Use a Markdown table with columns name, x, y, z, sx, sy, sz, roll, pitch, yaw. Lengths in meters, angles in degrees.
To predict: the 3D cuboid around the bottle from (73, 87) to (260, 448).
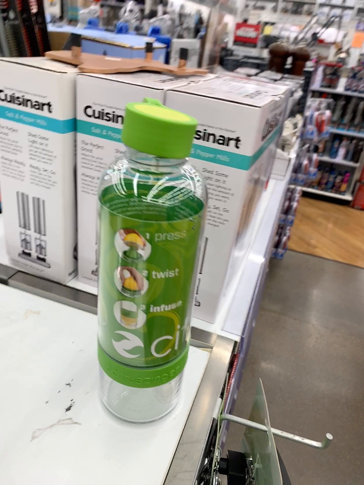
| name | x | y | z | sx | sy | sz | roll | pitch | yaw |
| --- | --- | --- | --- | --- | --- | --- | --- | --- | --- |
| bottle | -0.024 | 0.025 | 0.282 | 0.078 | 0.250 | 0.081 | 6 | 29 | -3 |
